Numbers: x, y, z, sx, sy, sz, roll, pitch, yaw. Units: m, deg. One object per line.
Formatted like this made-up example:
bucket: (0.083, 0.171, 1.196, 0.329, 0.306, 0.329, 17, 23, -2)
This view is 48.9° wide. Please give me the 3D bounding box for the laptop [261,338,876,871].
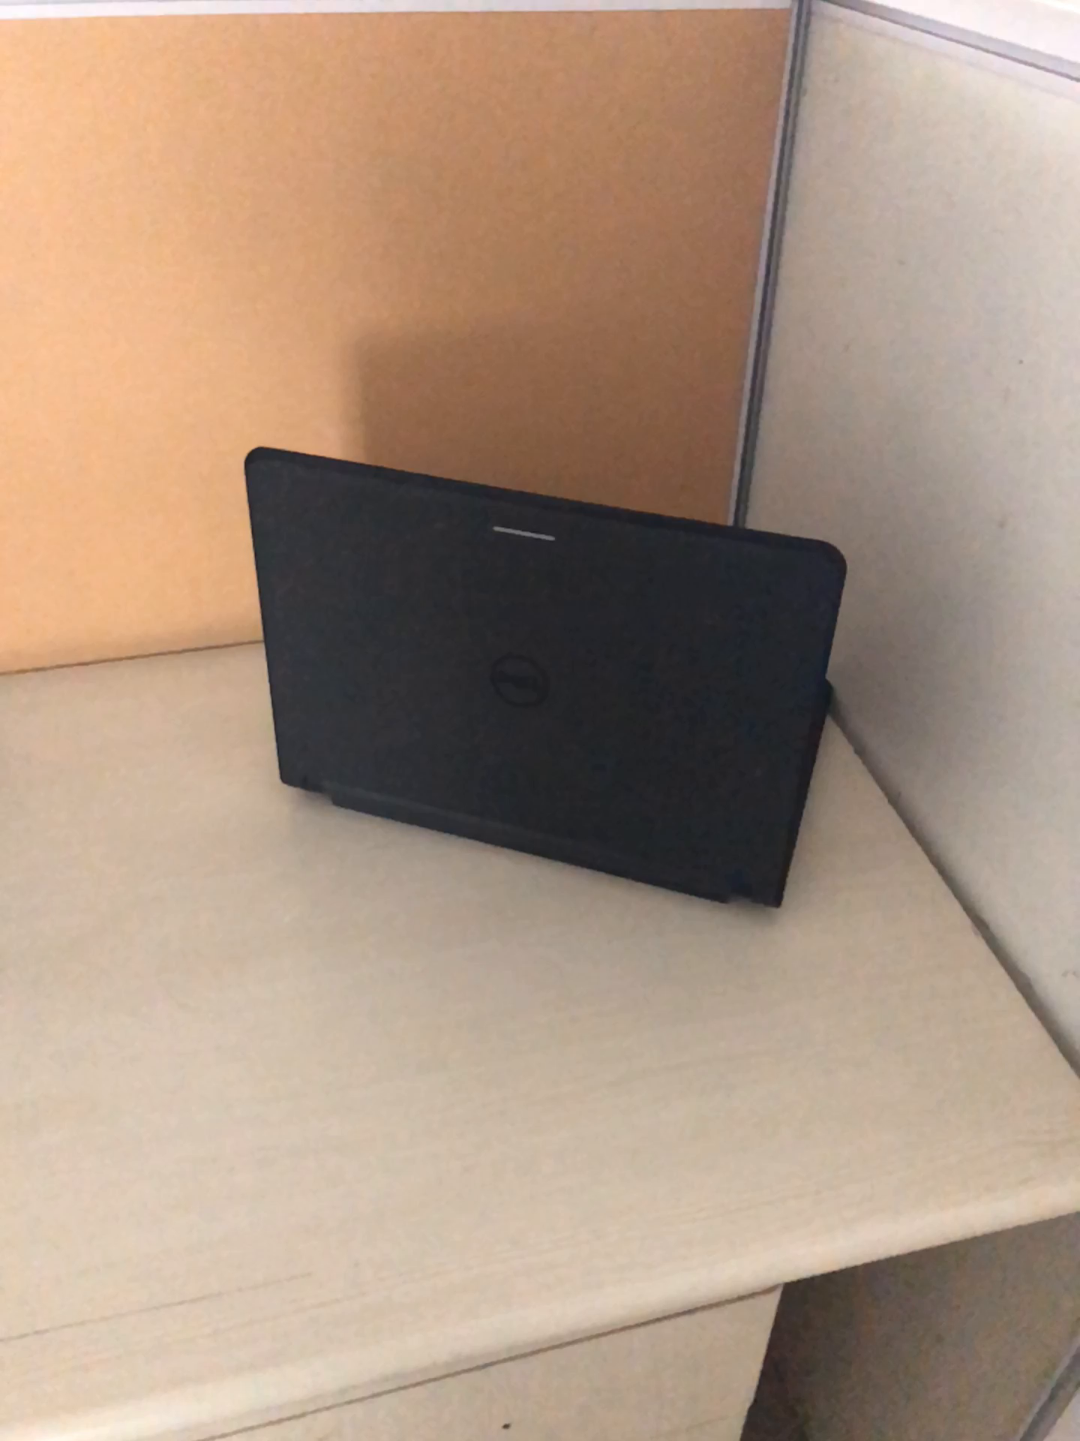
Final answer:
laptop: (0.027, -0.086, 0.755, 0.304, 0.211, 0.215, 12, 38, 15)
